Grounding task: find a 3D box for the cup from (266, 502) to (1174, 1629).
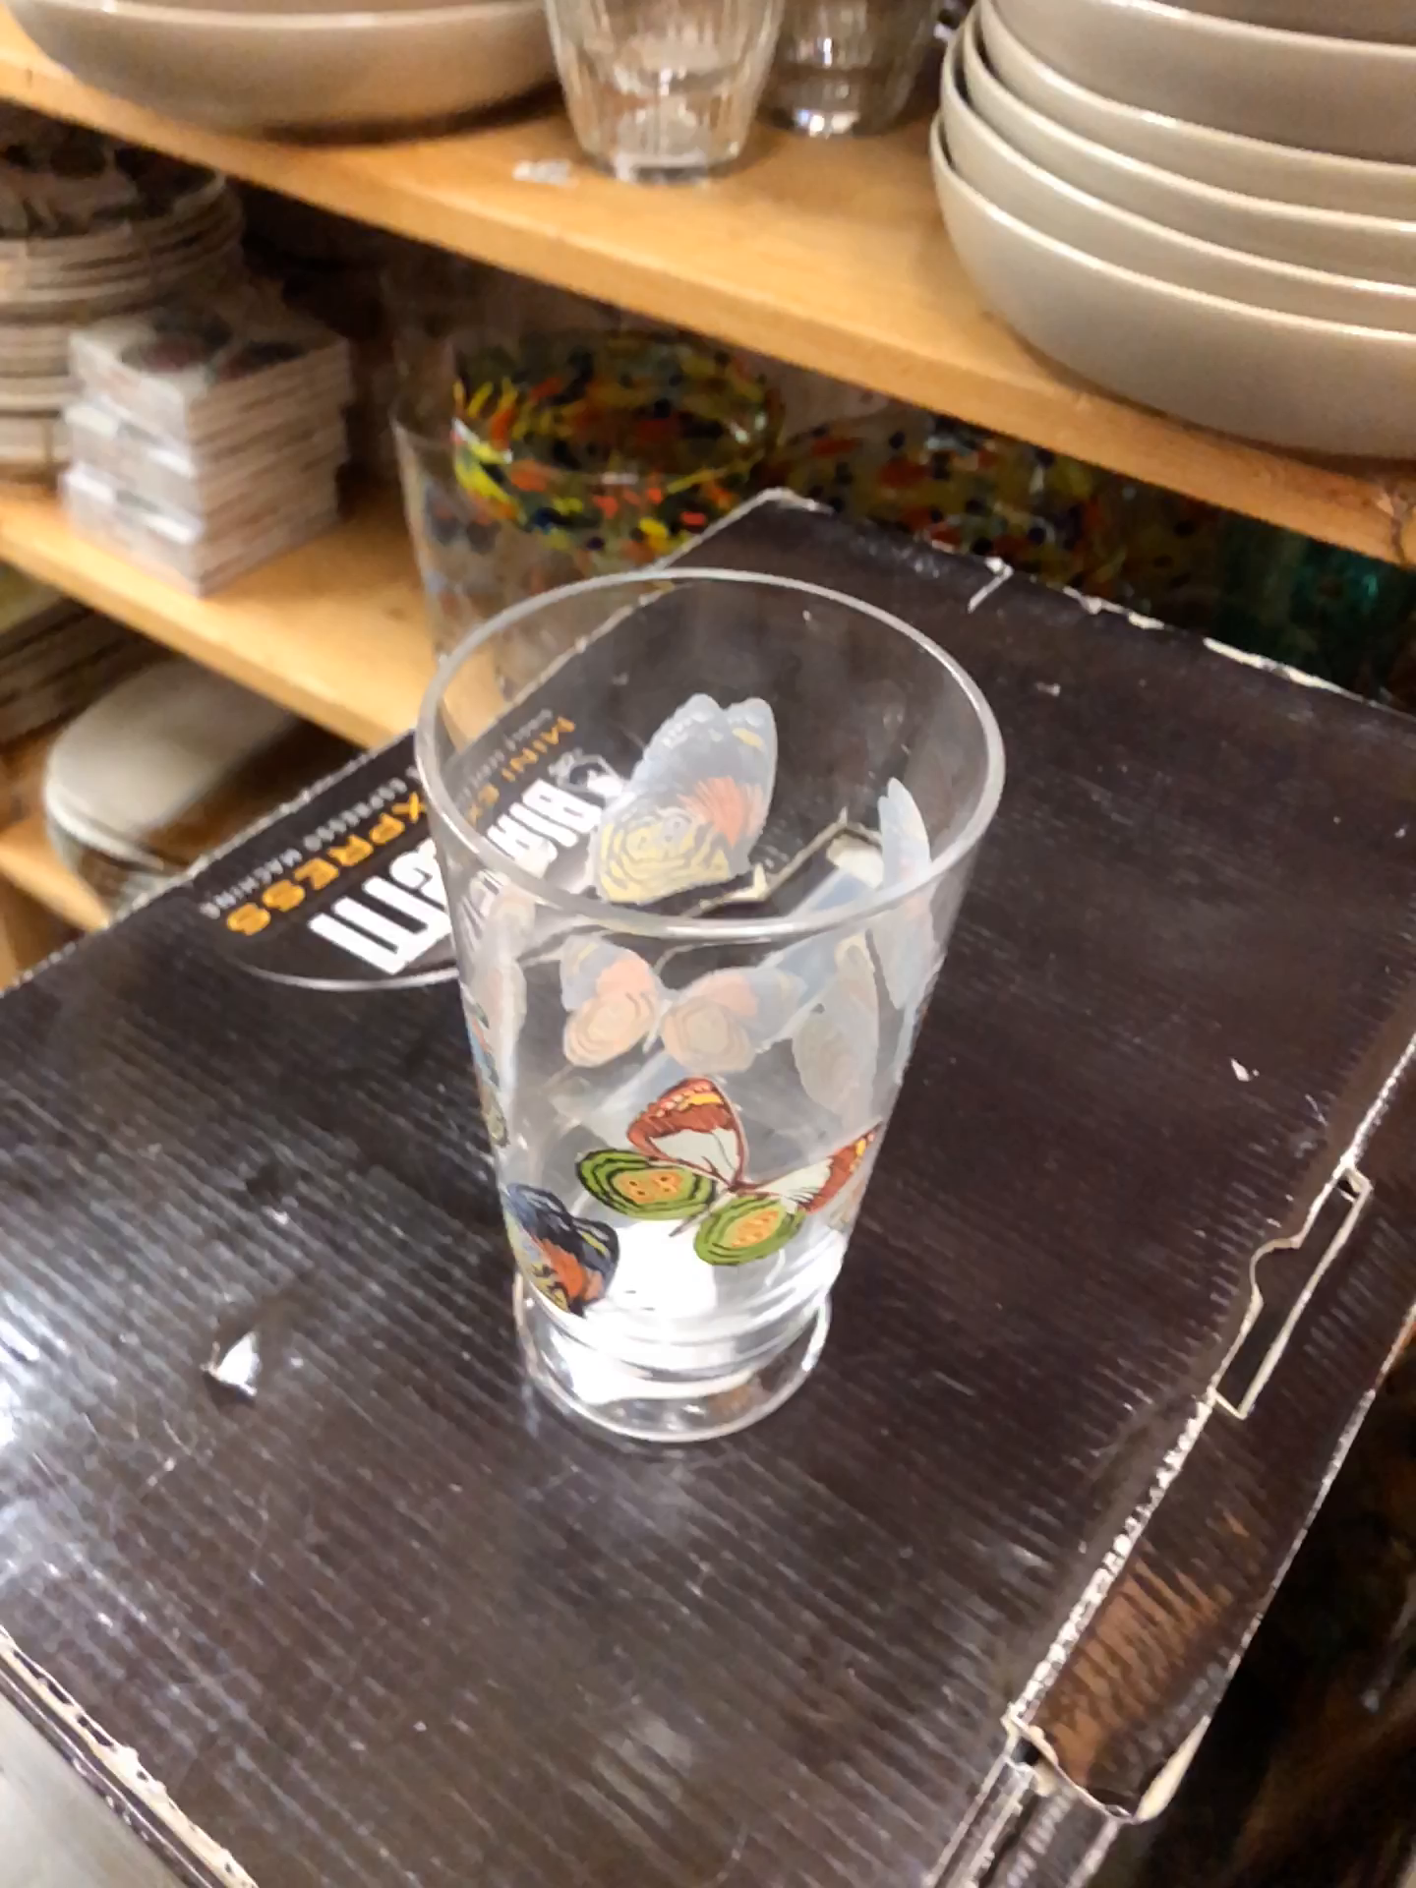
[{"bbox_3d":[0.001,0.019,0.231,0.075,0.125,0.079,1,44,-1],"label":"cup"}]
